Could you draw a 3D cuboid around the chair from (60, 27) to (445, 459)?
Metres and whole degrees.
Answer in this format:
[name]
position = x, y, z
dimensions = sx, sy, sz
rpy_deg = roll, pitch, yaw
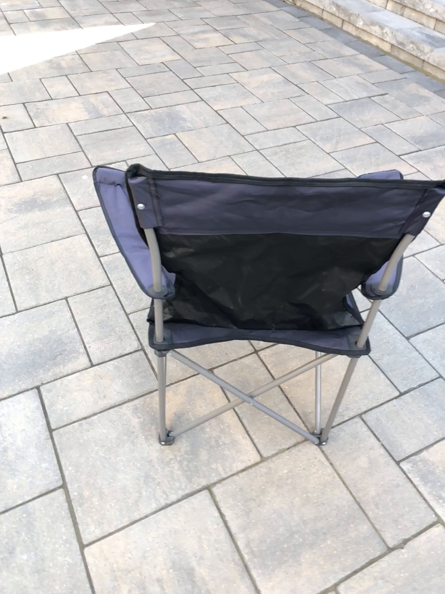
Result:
[chair]
position = 0.090, -0.091, 1.163
dimensions = 0.690, 0.817, 0.572
rpy_deg = 0, 44, -5
